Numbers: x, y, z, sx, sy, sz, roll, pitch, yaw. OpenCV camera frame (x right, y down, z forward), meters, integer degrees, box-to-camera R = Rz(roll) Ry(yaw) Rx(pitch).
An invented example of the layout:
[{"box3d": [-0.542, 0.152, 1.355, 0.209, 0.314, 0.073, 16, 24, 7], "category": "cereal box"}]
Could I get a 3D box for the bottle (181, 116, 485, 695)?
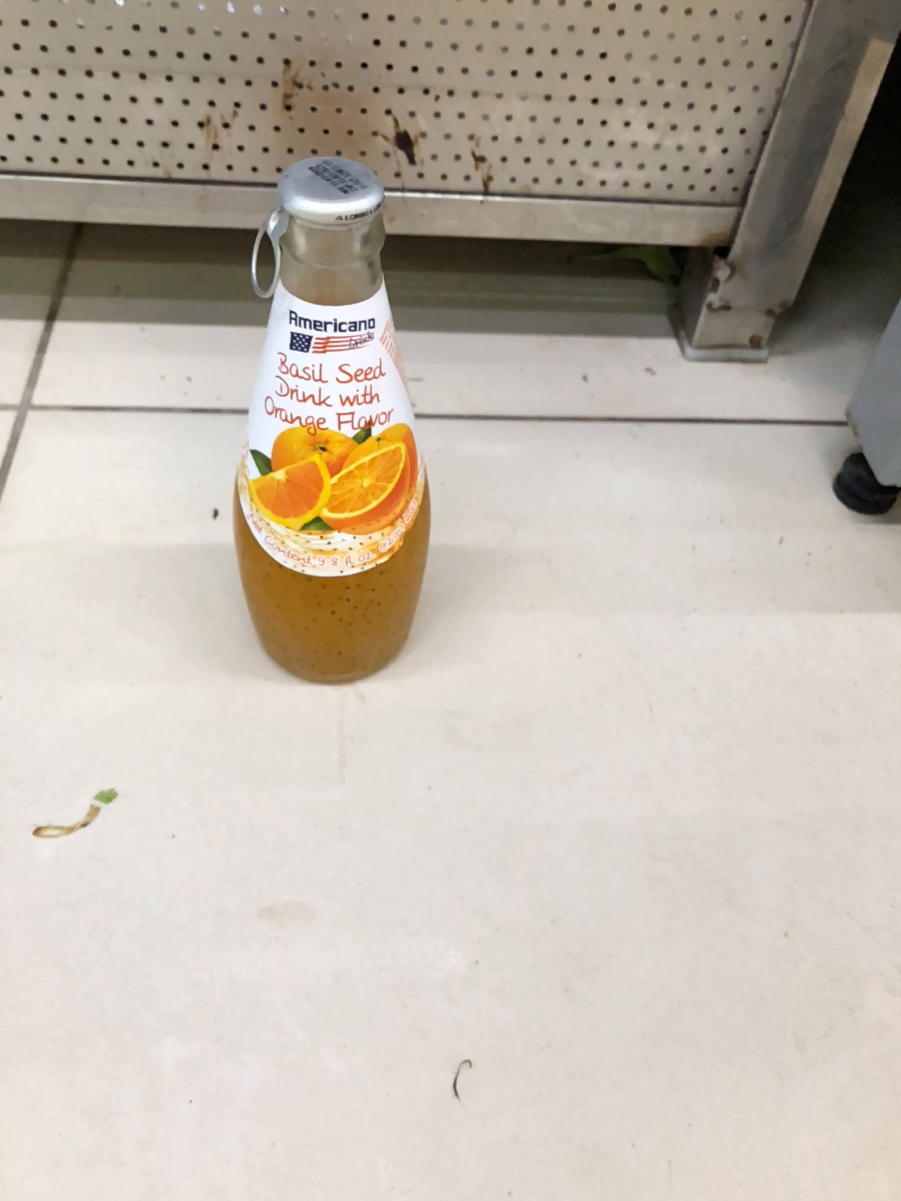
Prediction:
[{"box3d": [-0.039, -0.052, 0.317, 0.070, 0.169, 0.070, 3, 48, -3], "category": "bottle"}]
